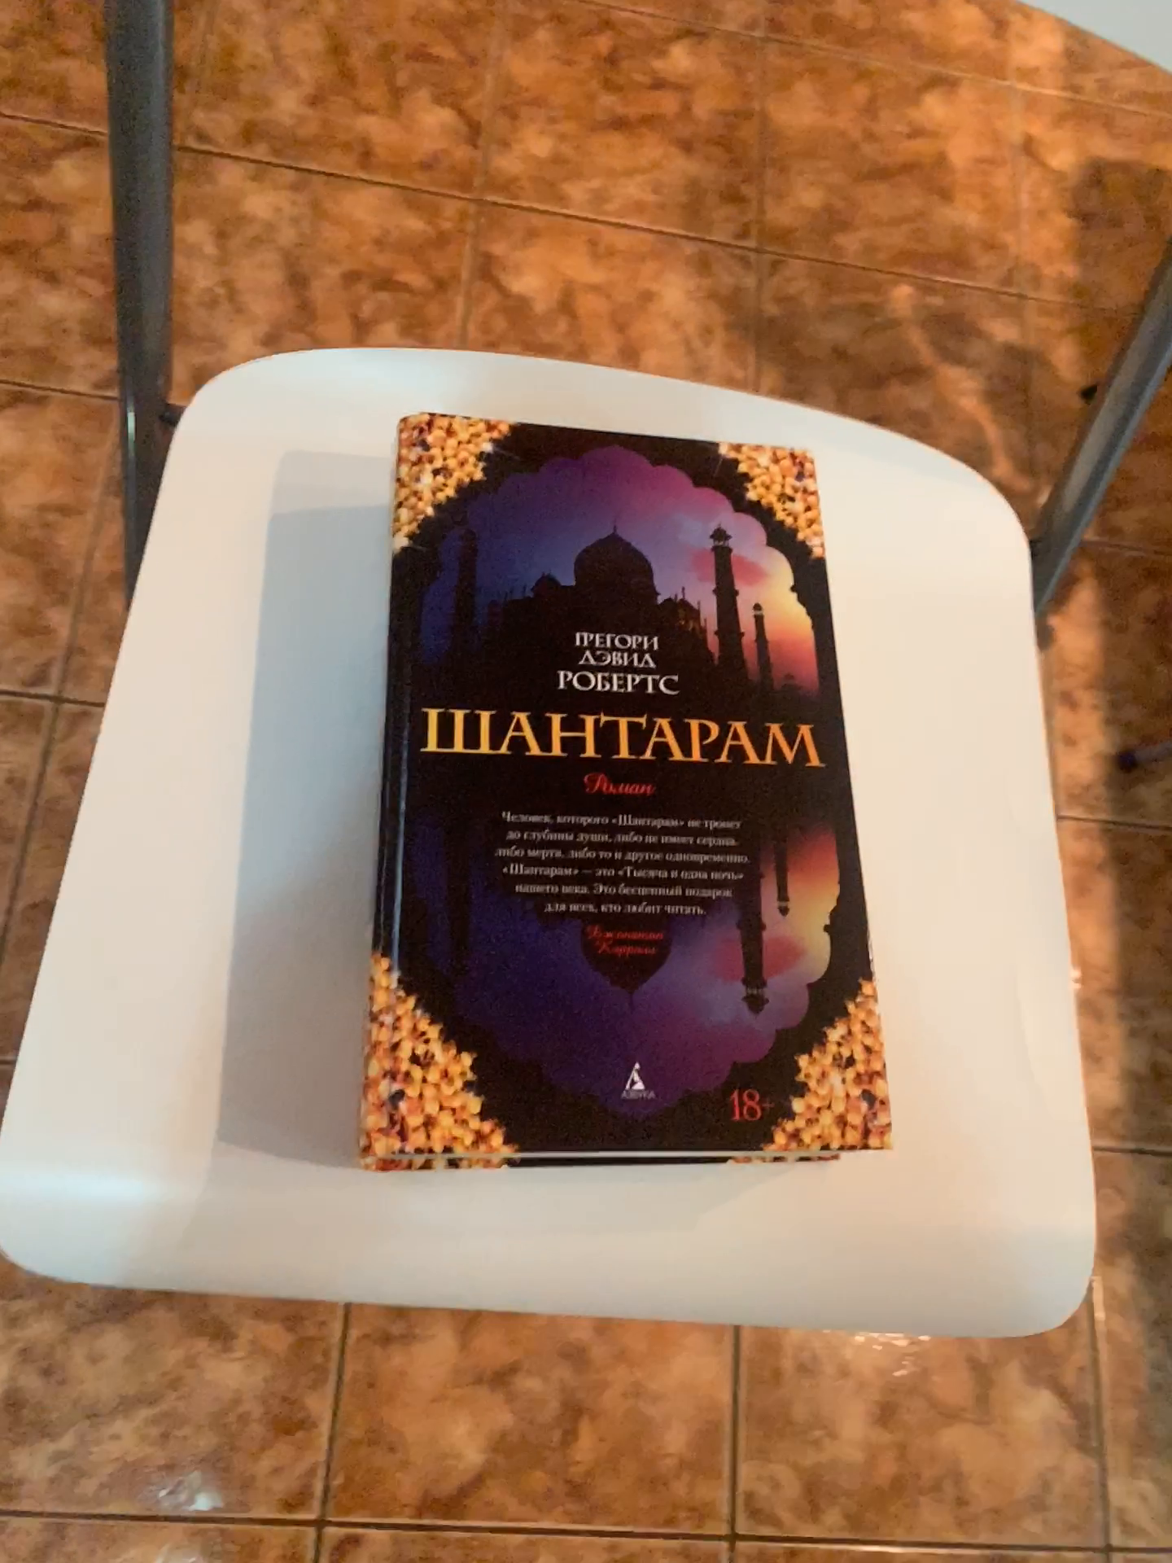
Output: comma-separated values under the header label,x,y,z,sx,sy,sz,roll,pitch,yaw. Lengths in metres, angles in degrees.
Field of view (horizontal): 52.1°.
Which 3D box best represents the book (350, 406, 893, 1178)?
label,x,y,z,sx,sy,sz,roll,pitch,yaw
book,0.006,-0.001,0.379,0.145,0.044,0.237,2,69,-8
